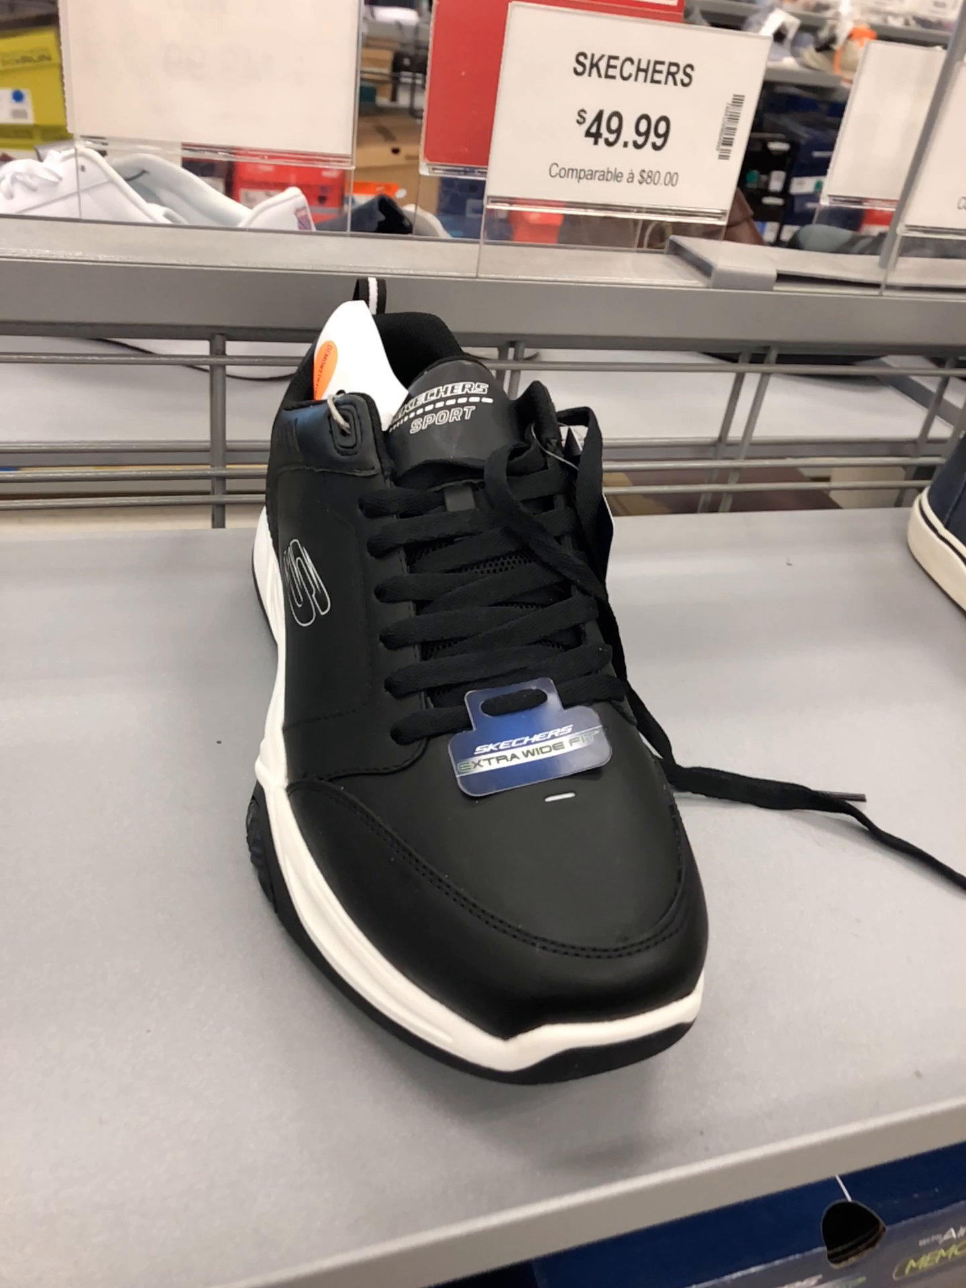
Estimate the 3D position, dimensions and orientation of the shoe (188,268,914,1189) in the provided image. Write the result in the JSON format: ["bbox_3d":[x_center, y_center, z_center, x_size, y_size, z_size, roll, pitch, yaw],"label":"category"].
[{"bbox_3d":[-0.024,-0.020,0.380,0.130,0.109,0.353,-3,37,-18],"label":"shoe"}]
